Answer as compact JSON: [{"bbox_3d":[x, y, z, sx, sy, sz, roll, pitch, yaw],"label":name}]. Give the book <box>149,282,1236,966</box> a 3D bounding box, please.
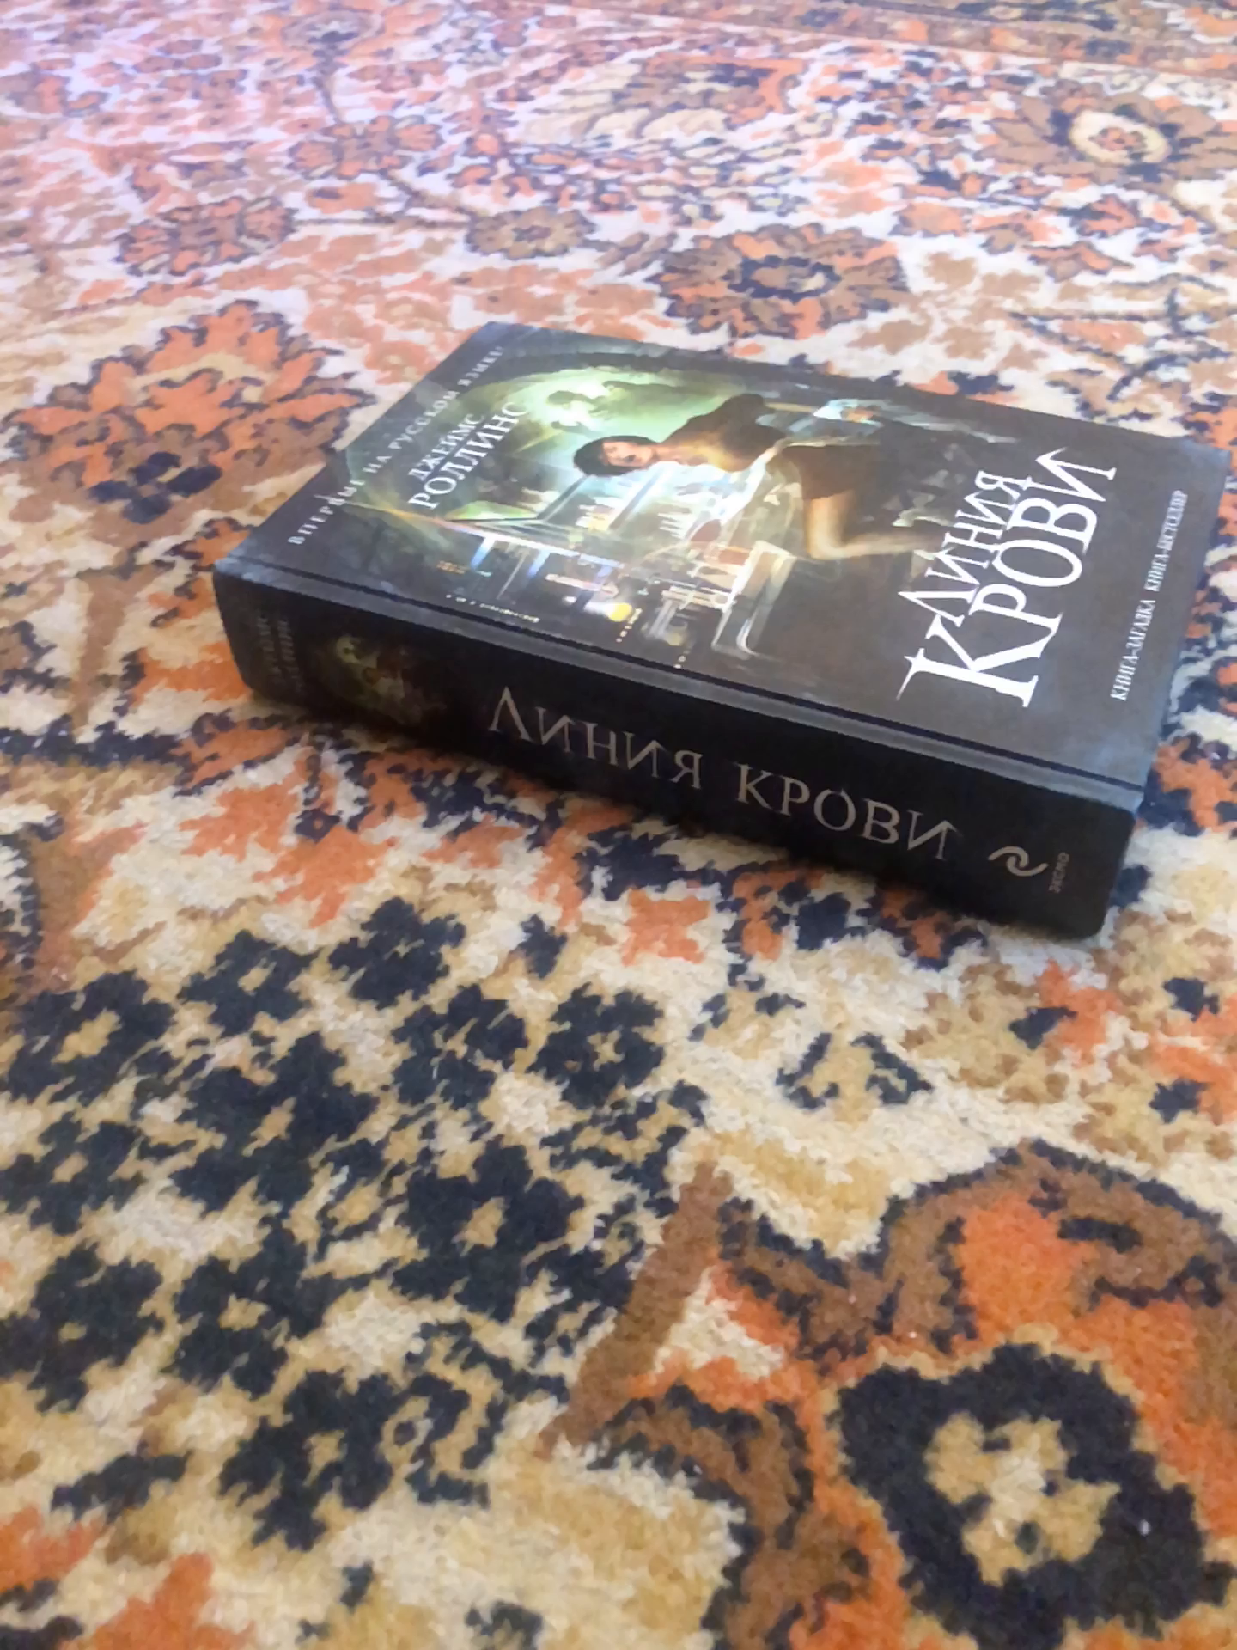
[{"bbox_3d":[0.029,-0.068,0.344,0.226,0.040,0.160,16,47,17],"label":"book"}]
